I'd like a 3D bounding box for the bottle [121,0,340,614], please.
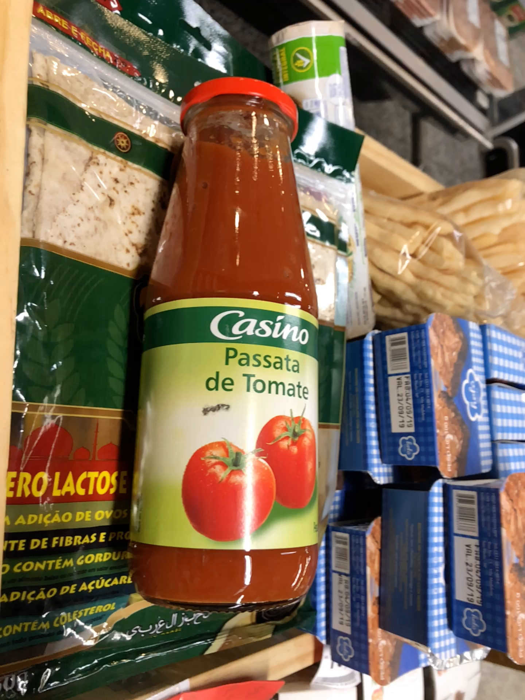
[{"bbox_3d":[-0.016,-0.021,0.255,0.070,0.080,0.230,4,81,-19],"label":"bottle"}]
